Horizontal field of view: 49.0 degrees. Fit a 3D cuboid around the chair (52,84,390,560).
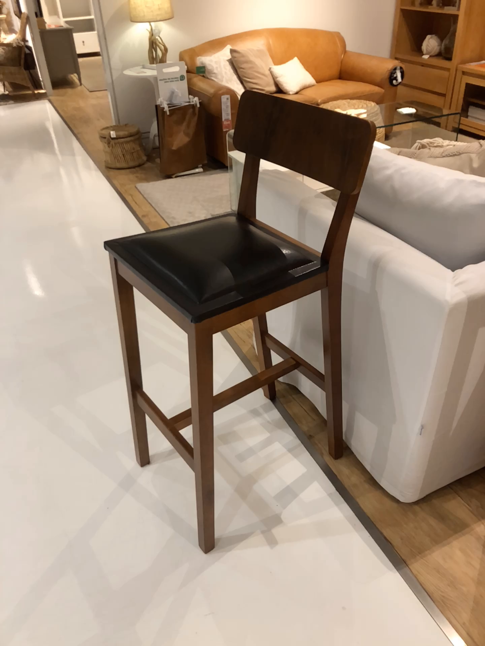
[{"bbox_3d":[-0.030,0.001,1.357,0.532,1.002,0.442,-24,40,-28],"label":"chair"}]
